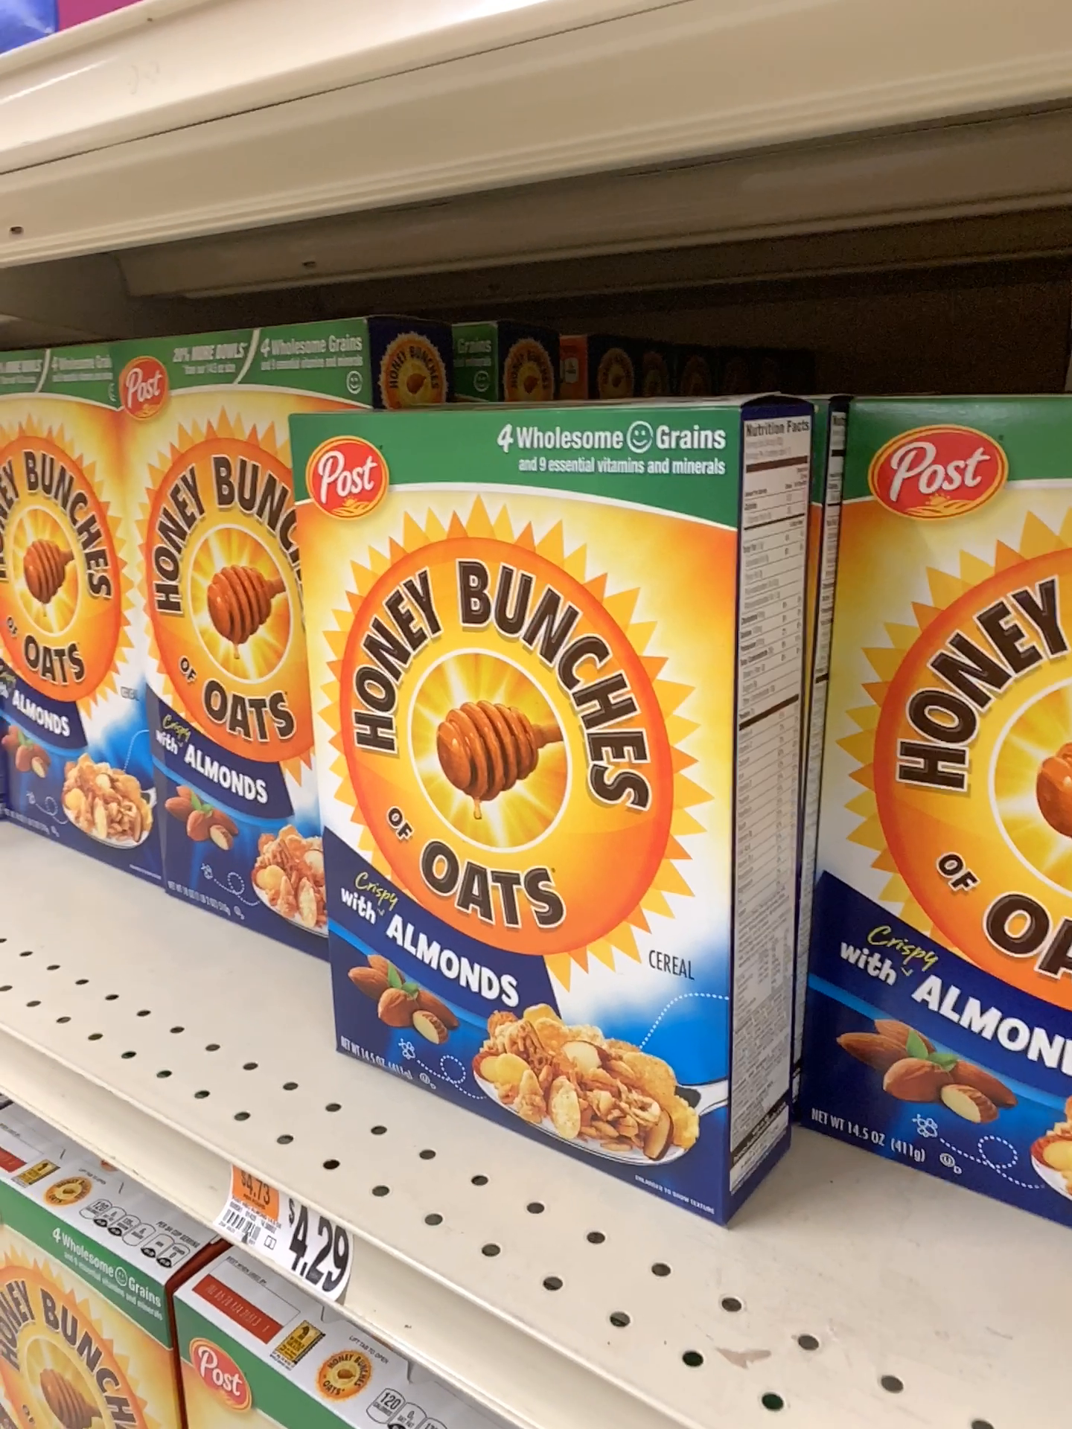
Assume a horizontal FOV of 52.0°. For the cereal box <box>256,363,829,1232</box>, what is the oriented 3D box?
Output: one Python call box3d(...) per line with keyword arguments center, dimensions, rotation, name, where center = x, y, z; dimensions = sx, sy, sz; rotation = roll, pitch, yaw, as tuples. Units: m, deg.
box3d(center=(-0.003, 0.018, 0.414), dimensions=(0.200, 0.279, 0.060), rotation=(10, 20, 36), name="cereal box")
